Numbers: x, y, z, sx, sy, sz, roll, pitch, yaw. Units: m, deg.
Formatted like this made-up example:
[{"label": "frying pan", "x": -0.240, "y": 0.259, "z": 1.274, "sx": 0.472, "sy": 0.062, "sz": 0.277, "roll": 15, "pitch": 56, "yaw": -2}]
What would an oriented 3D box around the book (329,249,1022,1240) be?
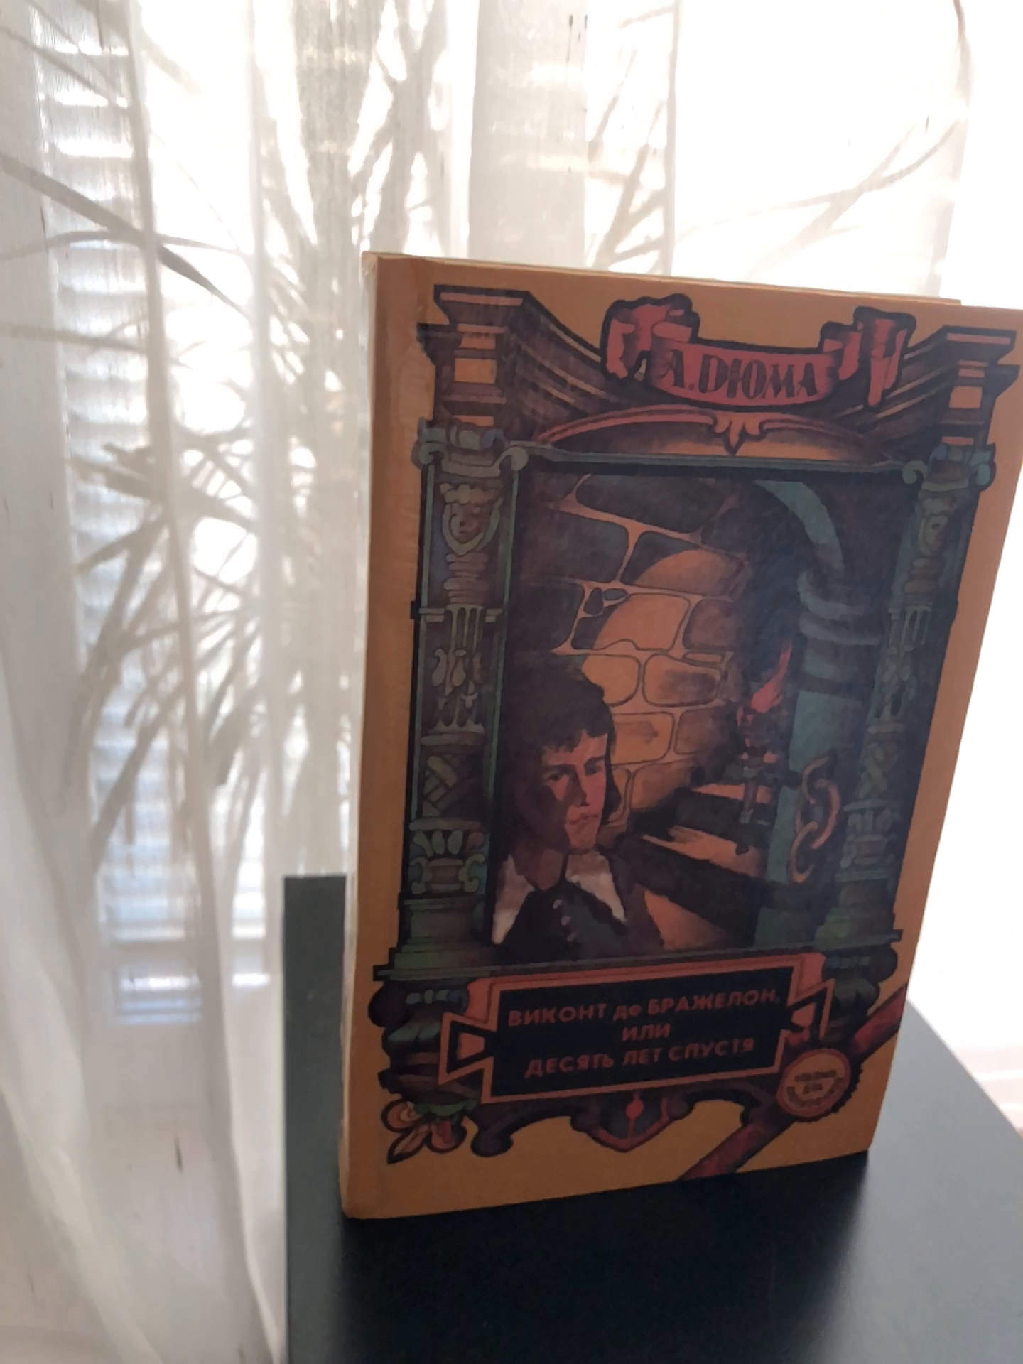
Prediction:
[{"label": "book", "x": 0.033, "y": 0.018, "z": 0.259, "sx": 0.142, "sy": 0.209, "sz": 0.045, "roll": -2, "pitch": 21, "yaw": -13}]
